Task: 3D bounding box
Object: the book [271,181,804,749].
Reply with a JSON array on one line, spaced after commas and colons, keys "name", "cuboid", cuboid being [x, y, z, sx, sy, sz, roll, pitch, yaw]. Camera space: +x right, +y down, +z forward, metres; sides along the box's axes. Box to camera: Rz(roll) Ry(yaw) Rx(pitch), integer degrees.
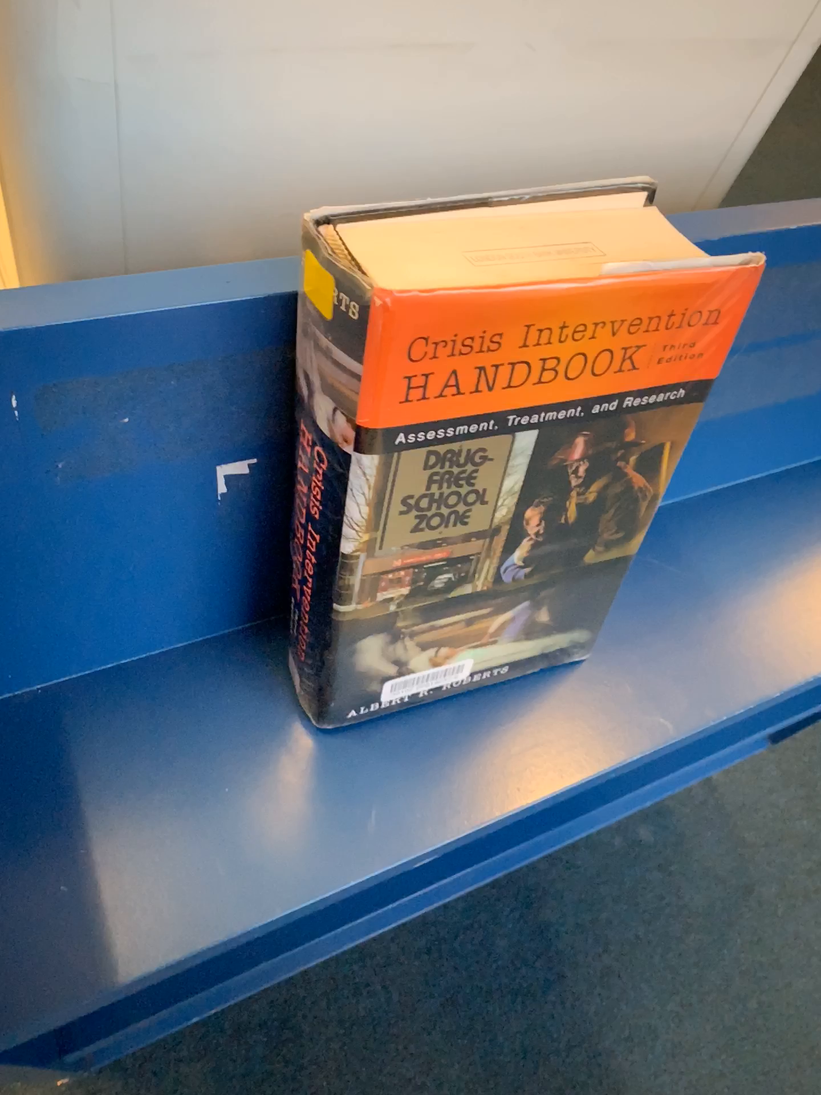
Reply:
[{"name": "book", "cuboid": [0.036, -0.031, 0.394, 0.180, 0.238, 0.080, -12, 47, -22]}]
